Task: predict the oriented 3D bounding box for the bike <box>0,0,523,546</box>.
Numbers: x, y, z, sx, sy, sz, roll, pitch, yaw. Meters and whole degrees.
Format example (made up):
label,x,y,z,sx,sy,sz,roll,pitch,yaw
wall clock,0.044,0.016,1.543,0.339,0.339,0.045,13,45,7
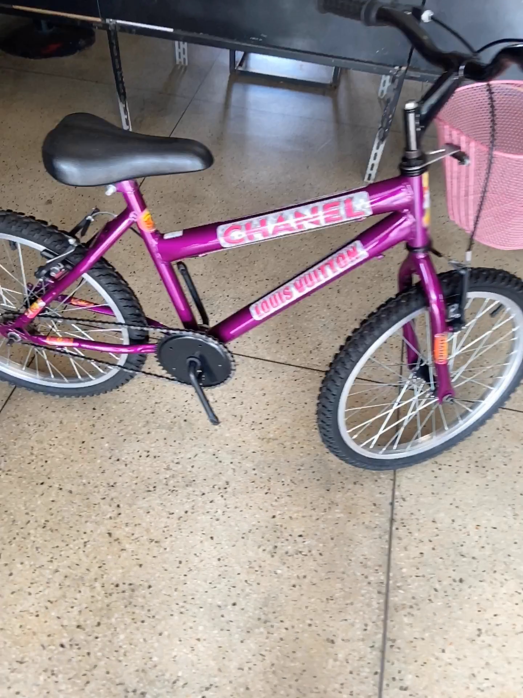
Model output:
label,x,y,z,sx,sy,sz,roll,pitch,yaw
bike,-0.071,-0.164,0.963,1.261,0.934,0.618,5,51,1
